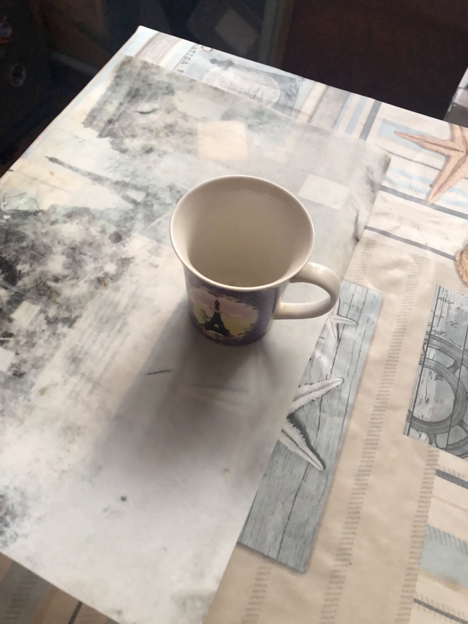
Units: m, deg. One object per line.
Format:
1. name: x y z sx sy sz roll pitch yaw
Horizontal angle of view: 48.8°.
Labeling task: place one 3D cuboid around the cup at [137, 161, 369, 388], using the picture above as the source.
1. cup: 0.012 -0.023 0.342 0.120 0.085 0.091 16 59 4
